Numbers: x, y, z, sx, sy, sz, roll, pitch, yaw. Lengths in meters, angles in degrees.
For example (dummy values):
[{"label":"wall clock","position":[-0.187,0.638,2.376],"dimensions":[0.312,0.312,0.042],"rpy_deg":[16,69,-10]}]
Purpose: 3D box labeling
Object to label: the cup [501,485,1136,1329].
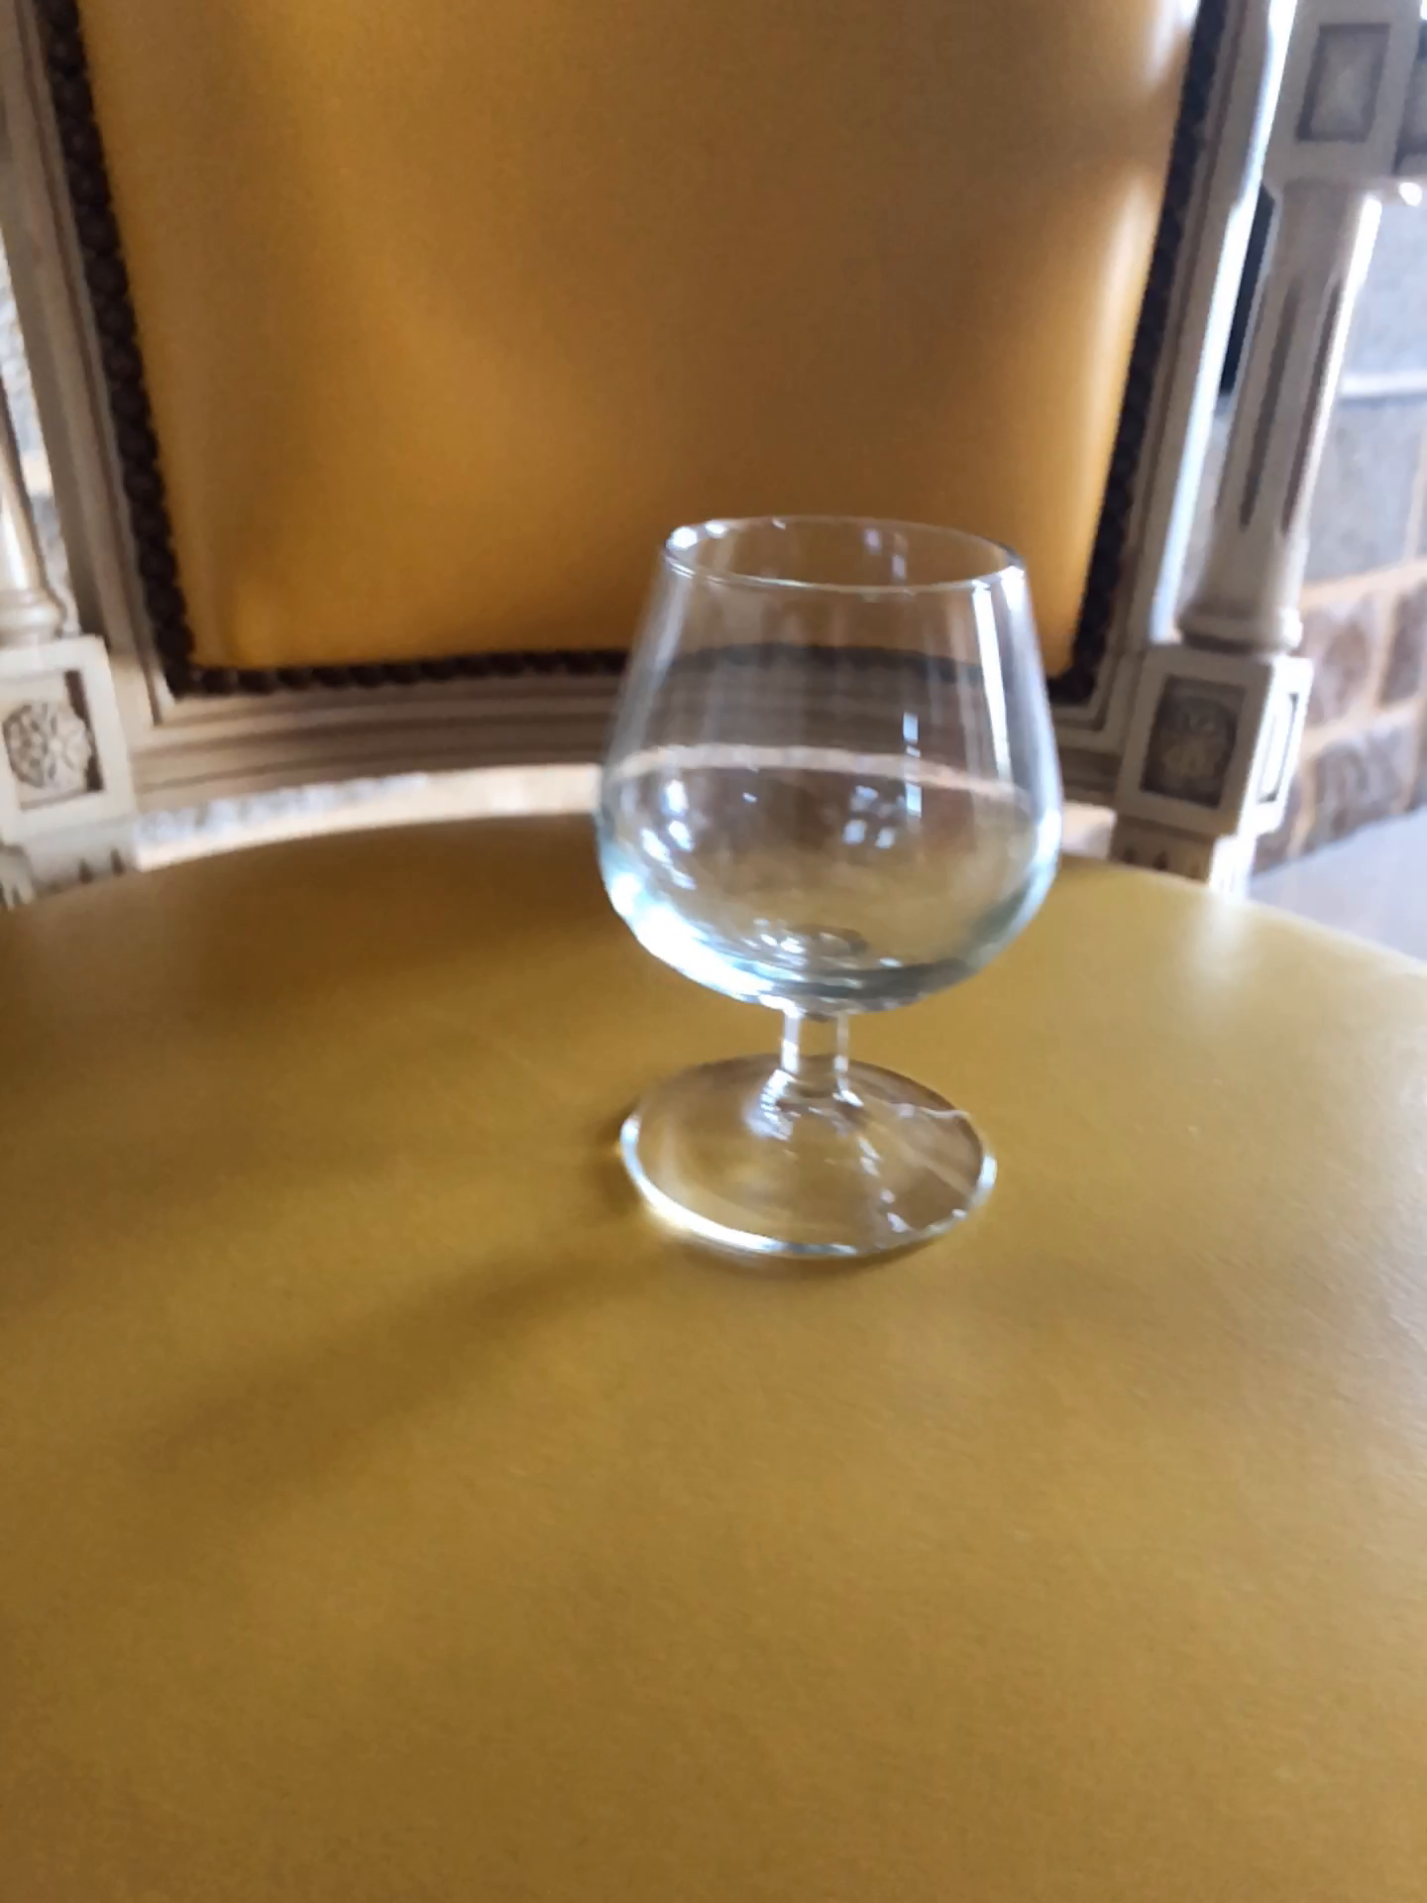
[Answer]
[{"label":"cup","position":[0.018,-0.013,0.227],"dimensions":[0.070,0.090,0.080],"rpy_deg":[7,24,12]}]
